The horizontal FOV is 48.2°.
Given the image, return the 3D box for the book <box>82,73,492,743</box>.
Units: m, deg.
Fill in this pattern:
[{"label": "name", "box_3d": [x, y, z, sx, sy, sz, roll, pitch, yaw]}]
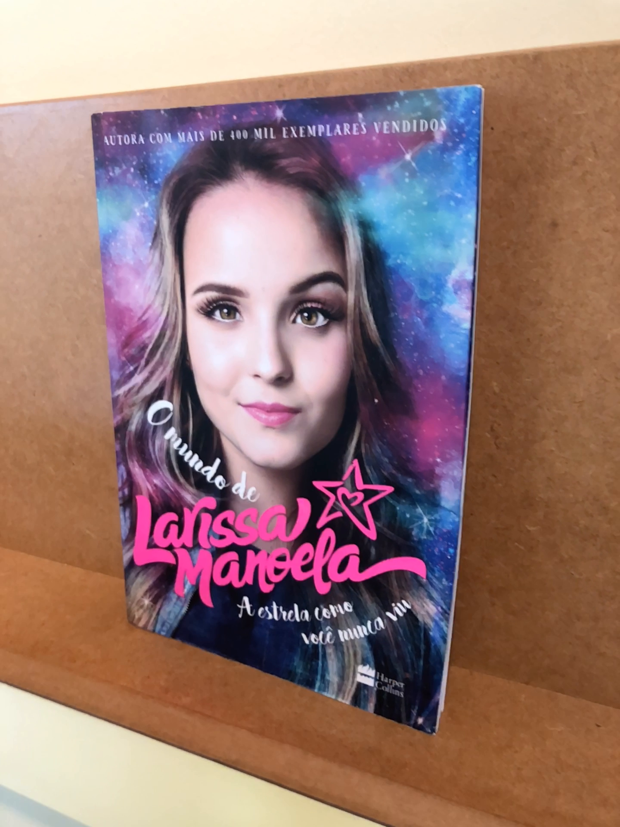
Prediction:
[{"label": "book", "box_3d": [-0.014, 0.001, 0.264, 0.150, 0.221, 0.020, 8, 18, 28]}]
